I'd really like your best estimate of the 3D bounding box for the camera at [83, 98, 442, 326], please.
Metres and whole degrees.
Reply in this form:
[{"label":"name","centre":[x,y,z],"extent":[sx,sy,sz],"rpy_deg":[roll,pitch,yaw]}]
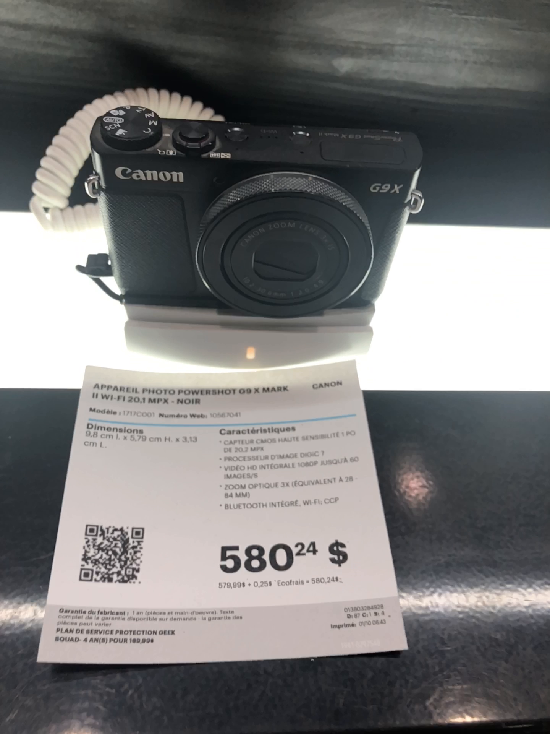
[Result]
[{"label":"camera","centre":[-0.005,-0.044,0.189],"extent":[0.092,0.060,0.026],"rpy_deg":[2,51,-4]}]
